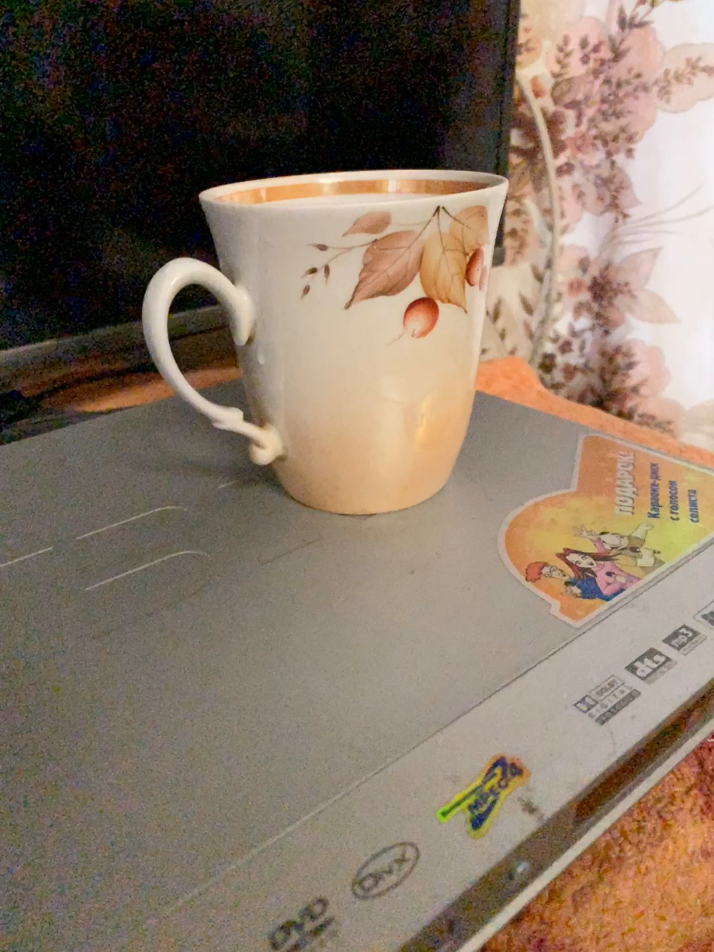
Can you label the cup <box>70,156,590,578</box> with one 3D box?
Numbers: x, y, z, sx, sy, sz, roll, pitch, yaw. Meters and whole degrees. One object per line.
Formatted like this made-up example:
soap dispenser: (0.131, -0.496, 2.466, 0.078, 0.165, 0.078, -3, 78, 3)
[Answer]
cup: (-0.008, -0.048, 0.234, 0.113, 0.091, 0.100, -20, 31, -35)
